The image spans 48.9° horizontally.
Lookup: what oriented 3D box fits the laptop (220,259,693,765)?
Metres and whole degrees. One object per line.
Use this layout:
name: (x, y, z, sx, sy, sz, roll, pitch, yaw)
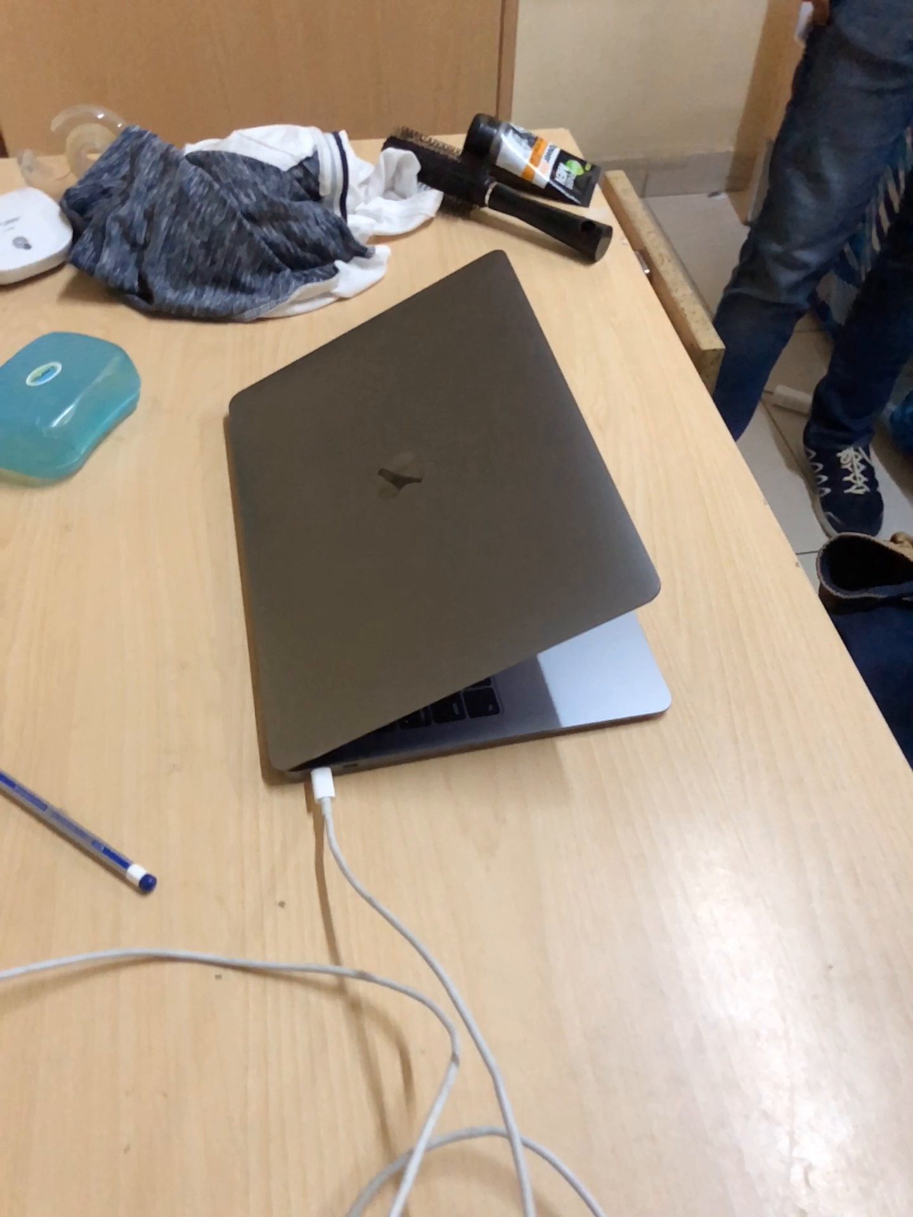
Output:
laptop: (-0.018, -0.074, 0.580, 0.193, 0.094, 0.295, -8, 50, -11)
